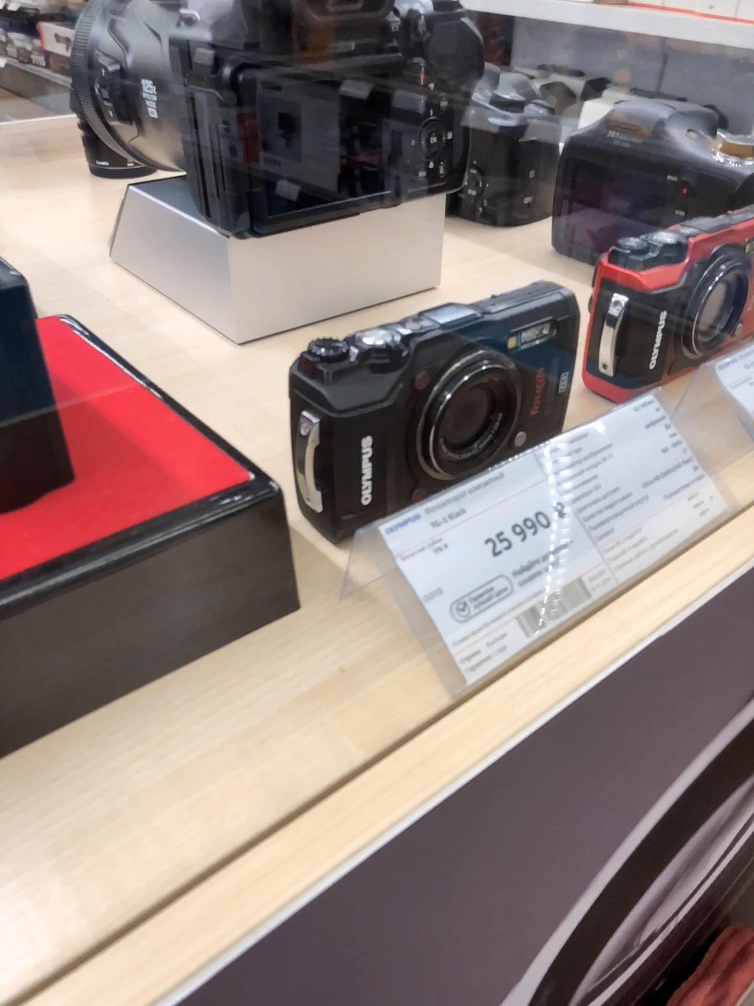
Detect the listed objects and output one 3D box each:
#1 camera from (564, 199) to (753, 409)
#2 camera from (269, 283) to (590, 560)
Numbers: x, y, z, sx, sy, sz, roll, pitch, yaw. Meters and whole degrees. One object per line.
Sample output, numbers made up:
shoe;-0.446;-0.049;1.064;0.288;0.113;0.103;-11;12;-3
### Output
camera;0.137;-0.091;0.366;0.117;0.060;0.030;-24;42;-31
camera;0.021;-0.033;0.297;0.117;0.060;0.030;-24;42;-31
